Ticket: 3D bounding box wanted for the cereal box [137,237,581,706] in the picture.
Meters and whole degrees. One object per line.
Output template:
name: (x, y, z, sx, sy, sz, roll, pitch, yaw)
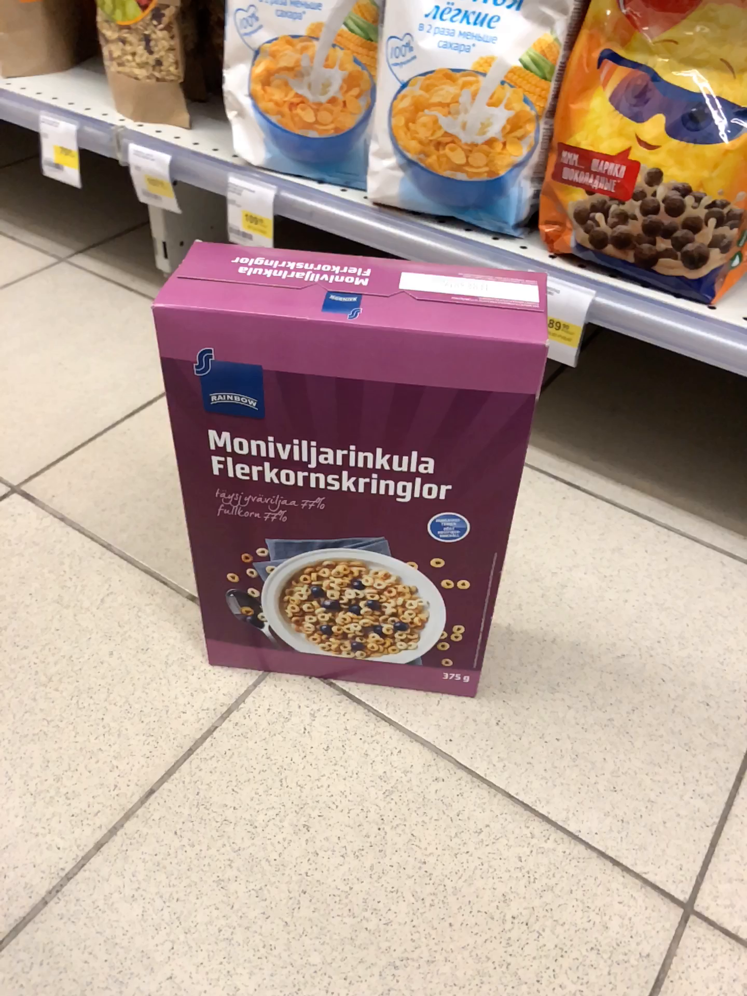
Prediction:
cereal box: (-0.009, -0.001, 0.507, 0.210, 0.278, 0.080, 6, 41, 4)
